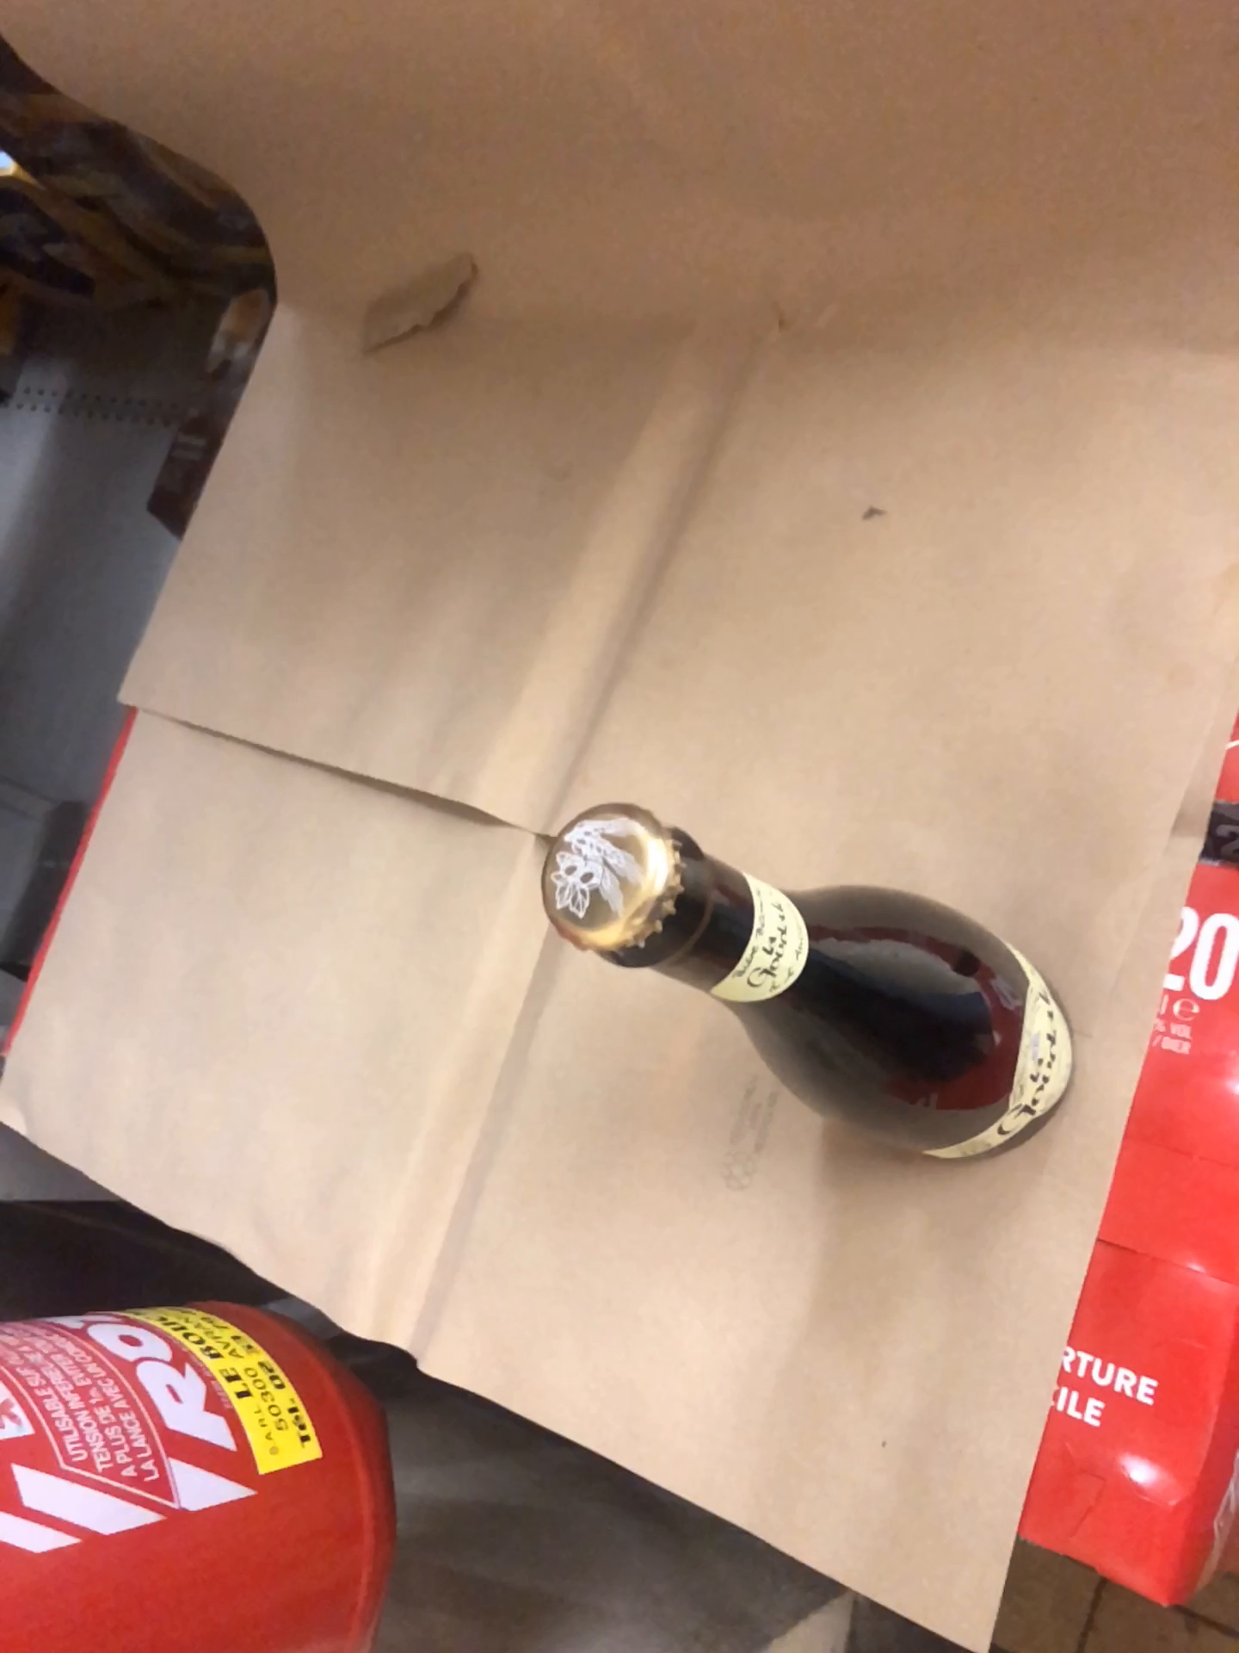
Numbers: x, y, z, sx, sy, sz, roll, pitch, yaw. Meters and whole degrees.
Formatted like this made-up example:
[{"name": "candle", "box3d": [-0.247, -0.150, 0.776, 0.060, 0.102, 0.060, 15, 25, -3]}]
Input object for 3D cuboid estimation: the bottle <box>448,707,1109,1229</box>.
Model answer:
[{"name": "bottle", "box3d": [0.058, 0.046, 0.322, 0.070, 0.220, 0.080, 2, 76, 29]}]
